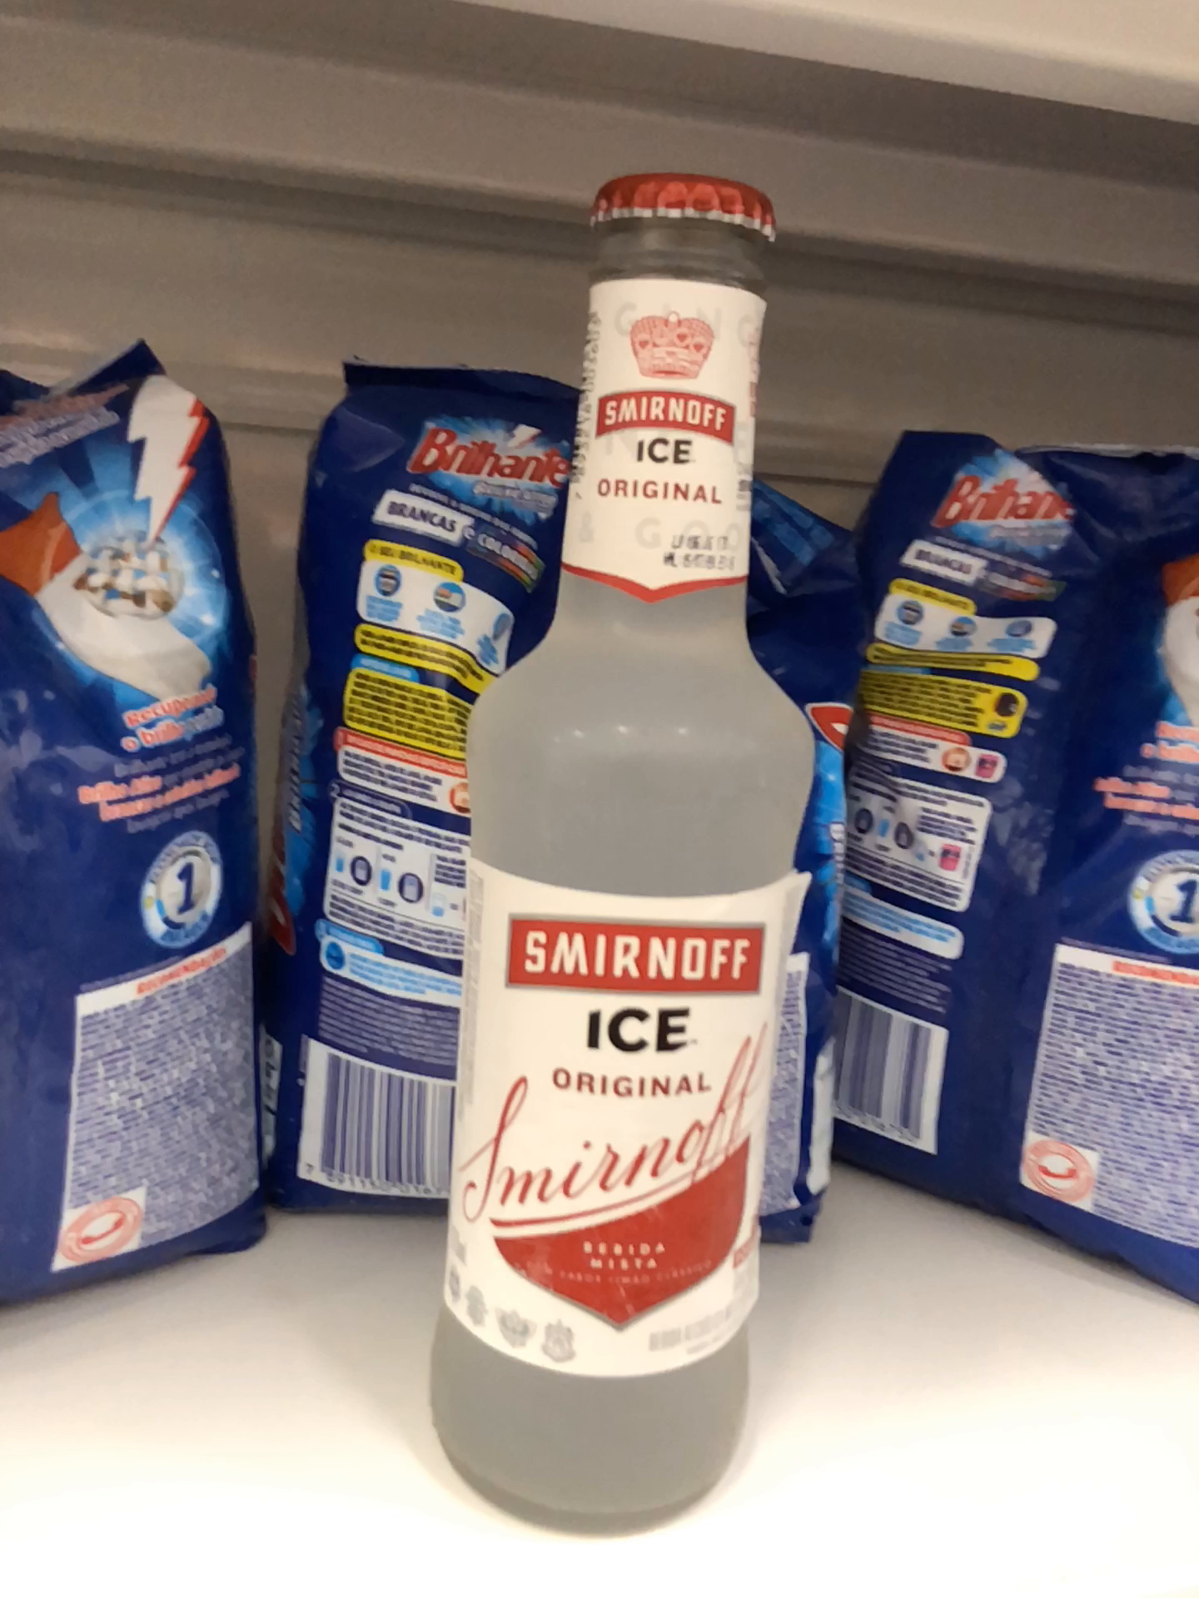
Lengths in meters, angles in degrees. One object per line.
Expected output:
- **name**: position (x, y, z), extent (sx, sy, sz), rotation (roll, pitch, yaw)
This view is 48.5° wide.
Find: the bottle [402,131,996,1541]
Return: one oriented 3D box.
- **bottle**: position (0.009, 0.011, 0.225), extent (0.070, 0.209, 0.060), rotation (3, 11, -5)
